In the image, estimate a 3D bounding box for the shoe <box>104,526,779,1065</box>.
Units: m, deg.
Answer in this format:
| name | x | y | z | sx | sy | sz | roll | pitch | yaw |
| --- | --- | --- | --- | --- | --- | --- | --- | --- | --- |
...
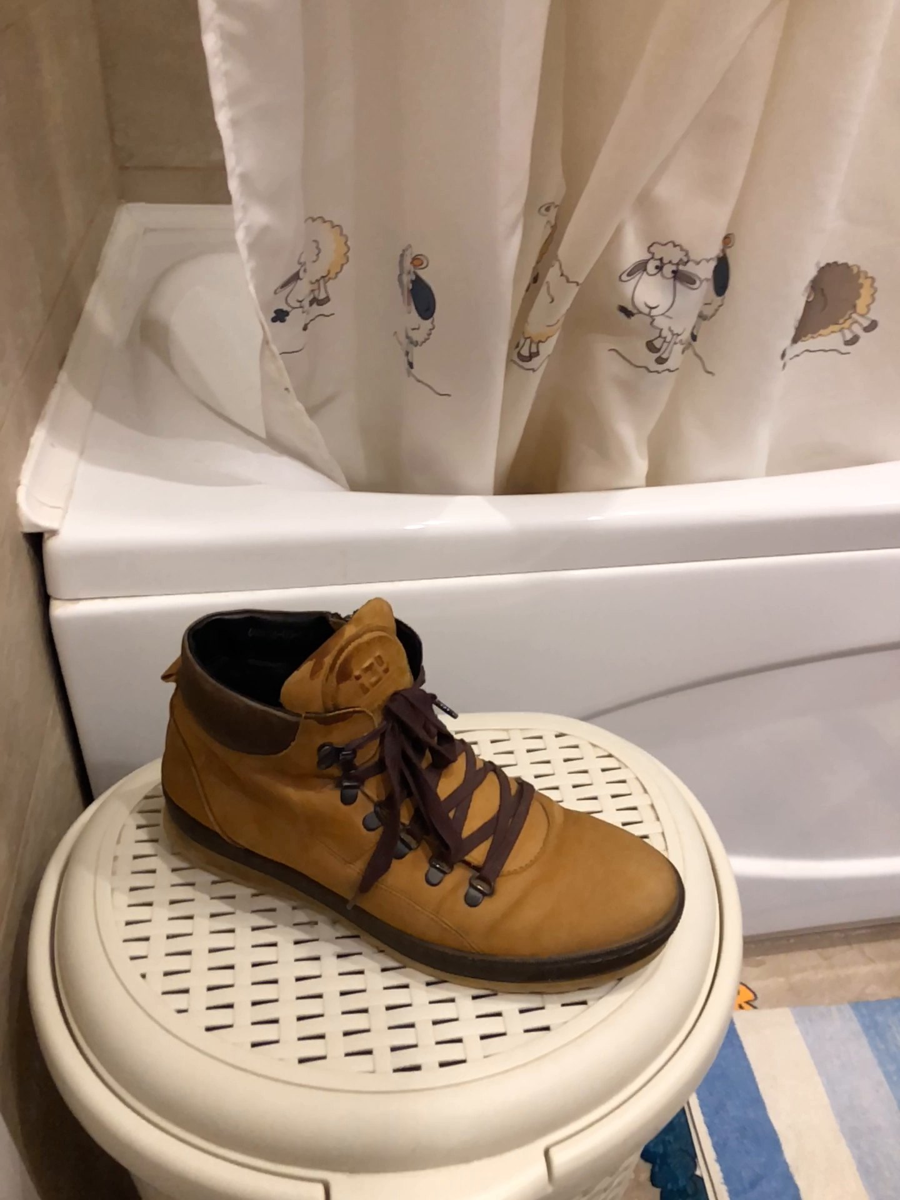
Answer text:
| name | x | y | z | sx | sy | sz | roll | pitch | yaw |
| --- | --- | --- | --- | --- | --- | --- | --- | --- | --- |
| shoe | -0.005 | 0.092 | 0.502 | 0.290 | 0.169 | 0.111 | 14 | 38 | 14 |
